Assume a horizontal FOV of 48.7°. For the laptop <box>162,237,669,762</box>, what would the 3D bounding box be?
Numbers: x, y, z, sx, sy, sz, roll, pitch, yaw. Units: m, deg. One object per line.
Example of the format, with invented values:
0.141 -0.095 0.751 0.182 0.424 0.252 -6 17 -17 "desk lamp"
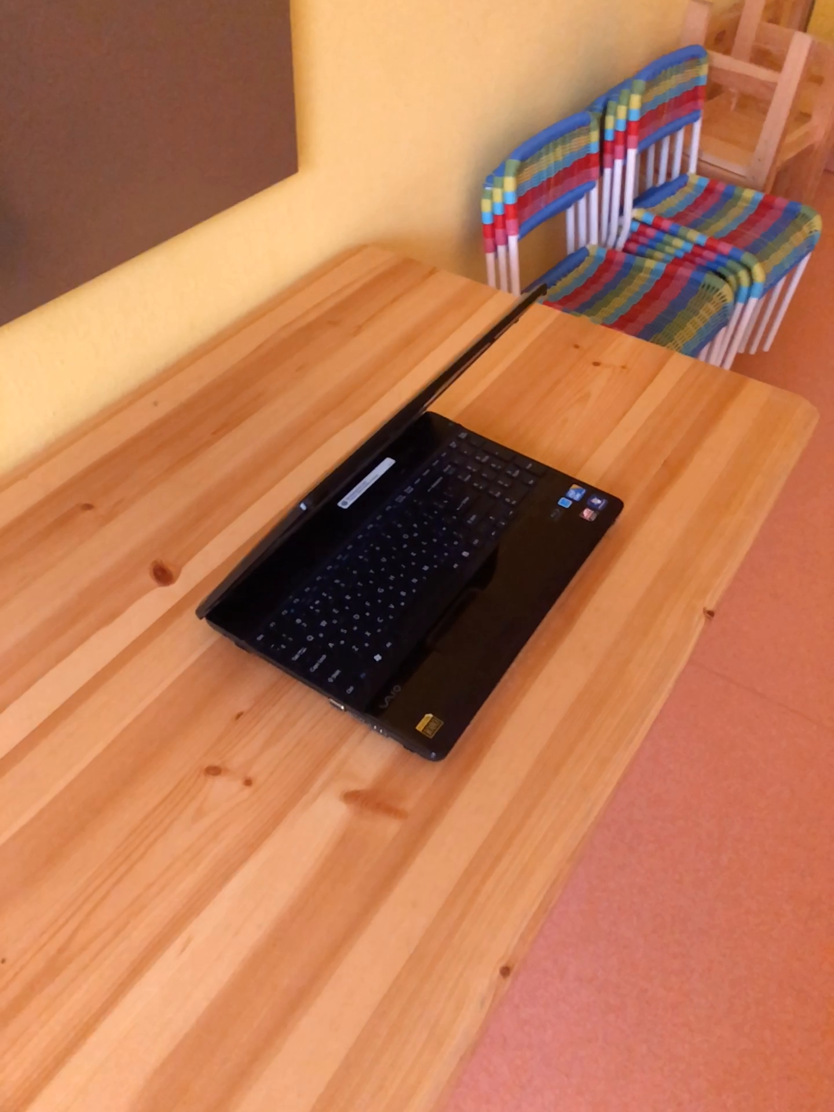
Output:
0.015 -0.072 0.798 0.247 0.200 0.364 27 50 19 "laptop"
